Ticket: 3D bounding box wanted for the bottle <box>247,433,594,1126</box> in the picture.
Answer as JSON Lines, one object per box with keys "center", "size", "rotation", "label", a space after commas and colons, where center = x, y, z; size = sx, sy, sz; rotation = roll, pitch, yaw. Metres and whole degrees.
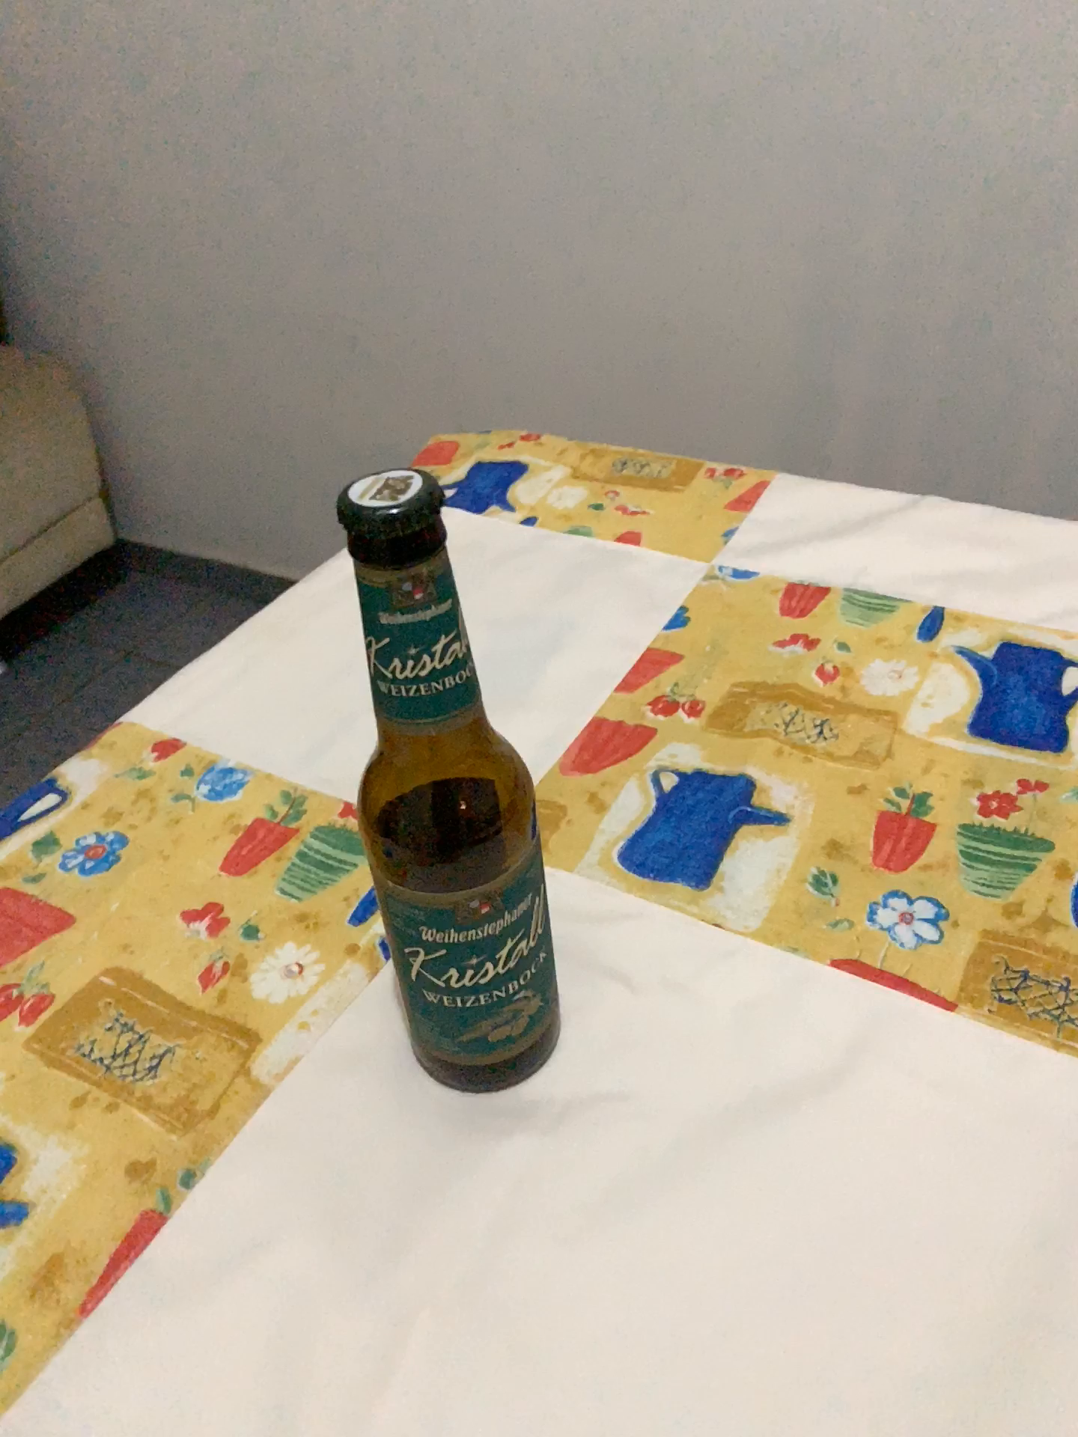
{"center": [-0.031, 0.032, 0.363], "size": [0.070, 0.229, 0.060], "rotation": [-13, 38, -9], "label": "bottle"}
